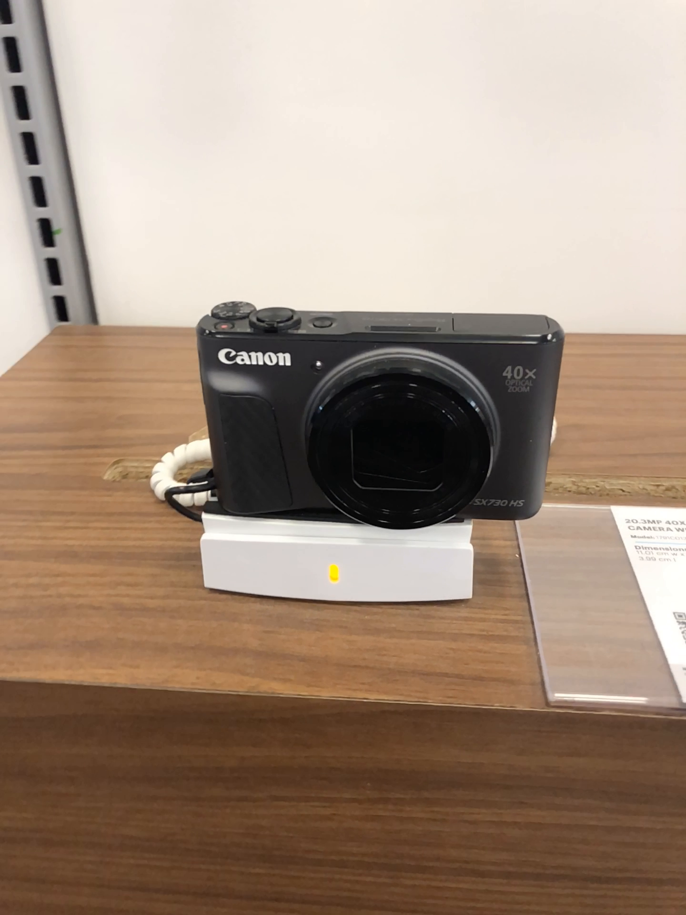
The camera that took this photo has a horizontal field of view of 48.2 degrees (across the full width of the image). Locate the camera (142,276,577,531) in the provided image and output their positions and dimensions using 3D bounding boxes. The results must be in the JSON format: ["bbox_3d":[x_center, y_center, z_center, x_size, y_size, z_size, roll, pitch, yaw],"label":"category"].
[{"bbox_3d":[0.005,-0.017,0.241,0.120,0.070,0.030,2,29,6],"label":"camera"}]
